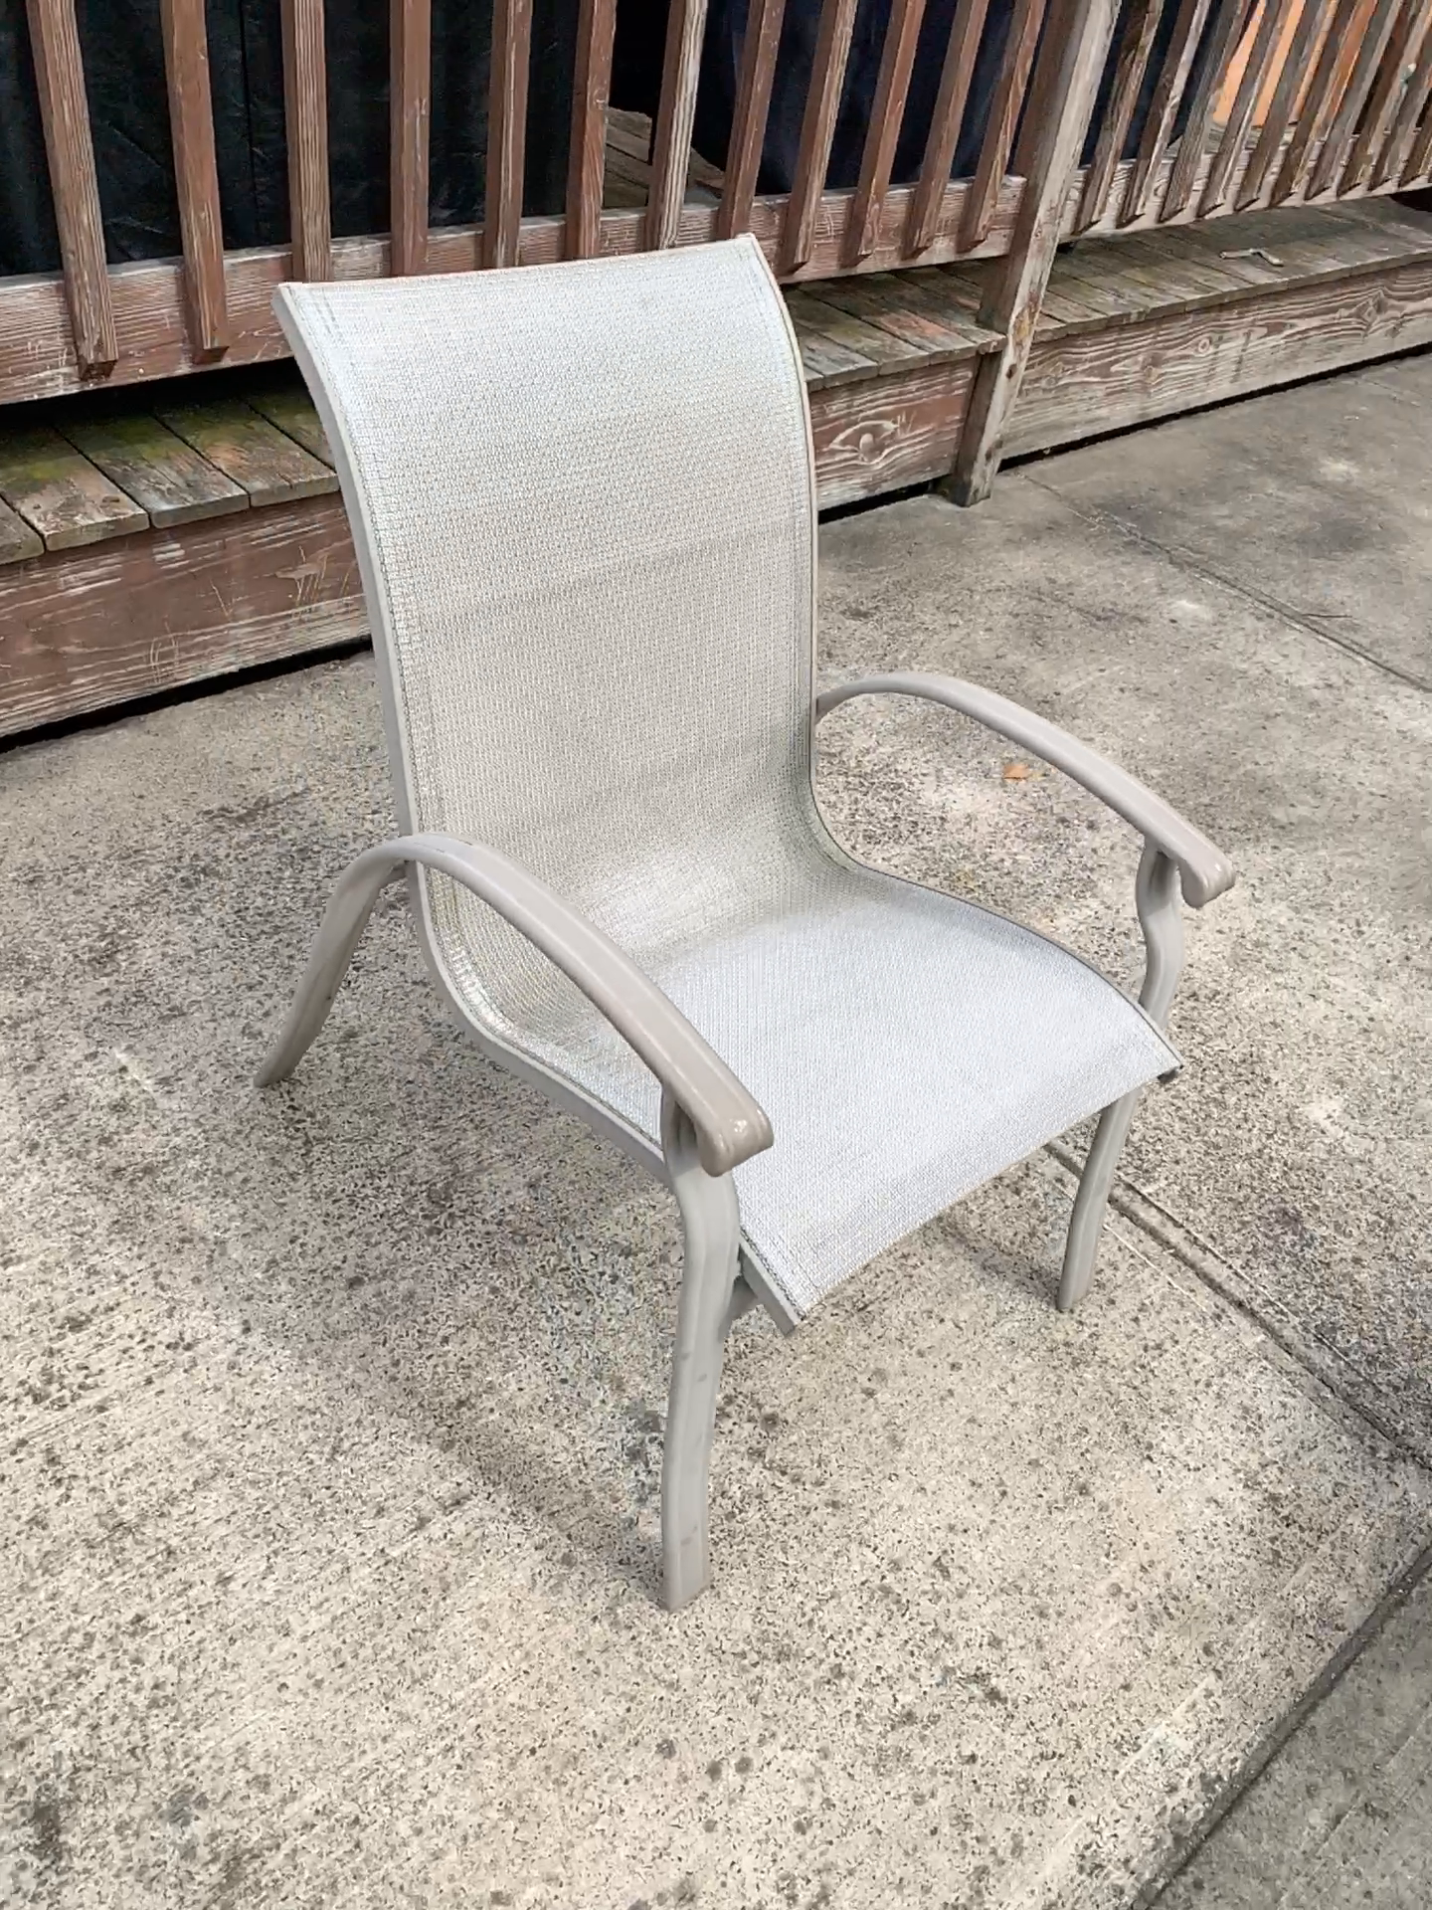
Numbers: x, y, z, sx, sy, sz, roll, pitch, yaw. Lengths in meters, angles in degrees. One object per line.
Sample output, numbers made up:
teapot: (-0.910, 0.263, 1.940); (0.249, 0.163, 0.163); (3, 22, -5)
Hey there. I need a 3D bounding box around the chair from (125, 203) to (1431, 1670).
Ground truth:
chair: (0.020, -0.073, 1.301); (0.652, 0.845, 0.793); (-25, 51, -33)
